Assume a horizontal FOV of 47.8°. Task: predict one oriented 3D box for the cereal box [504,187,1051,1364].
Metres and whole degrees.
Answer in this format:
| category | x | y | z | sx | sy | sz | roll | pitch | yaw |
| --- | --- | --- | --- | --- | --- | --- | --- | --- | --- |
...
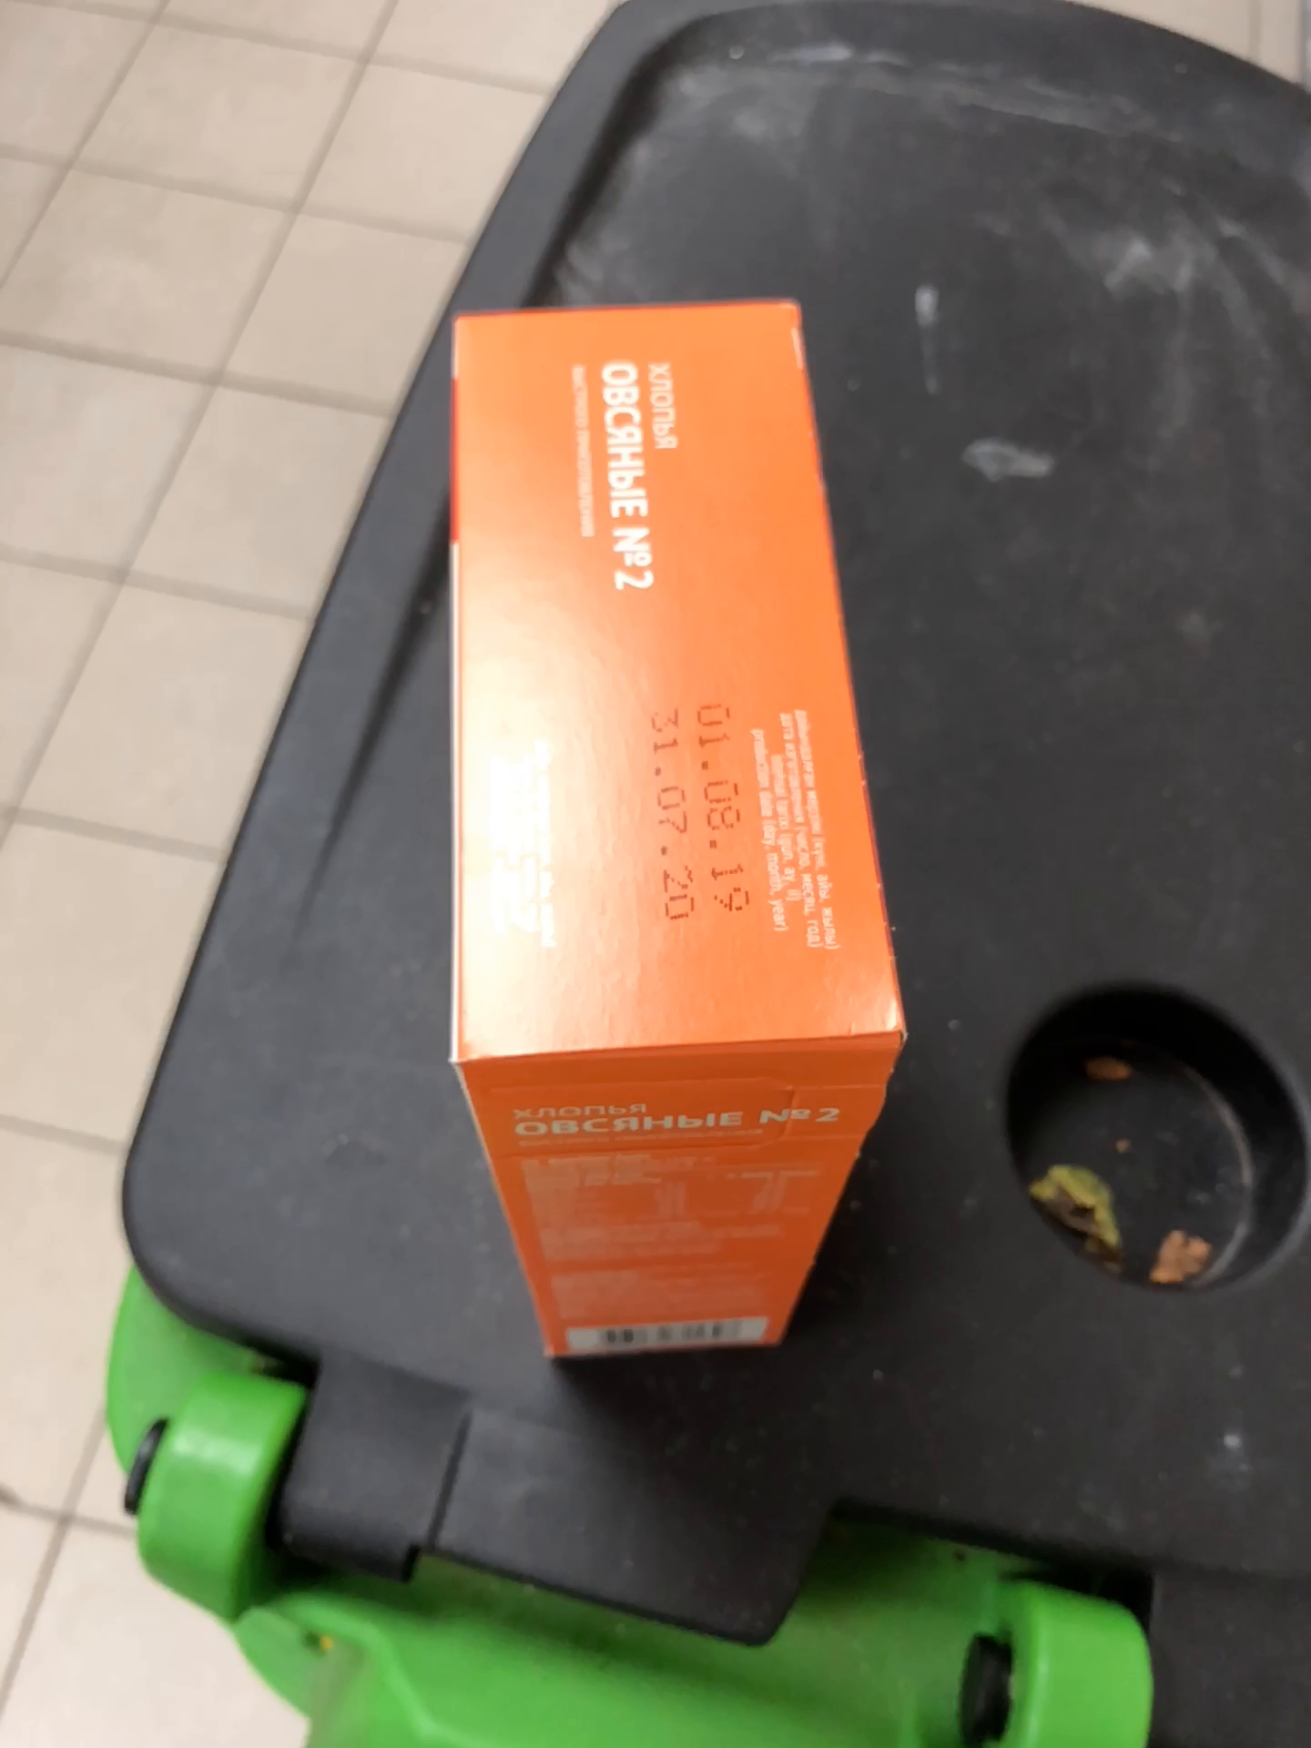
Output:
| category | x | y | z | sx | sy | sz | roll | pitch | yaw |
| --- | --- | --- | --- | --- | --- | --- | --- | --- | --- |
| cereal box | 0.009 | 0.003 | 0.301 | 0.060 | 0.209 | 0.150 | -3 | 63 | -3 |
